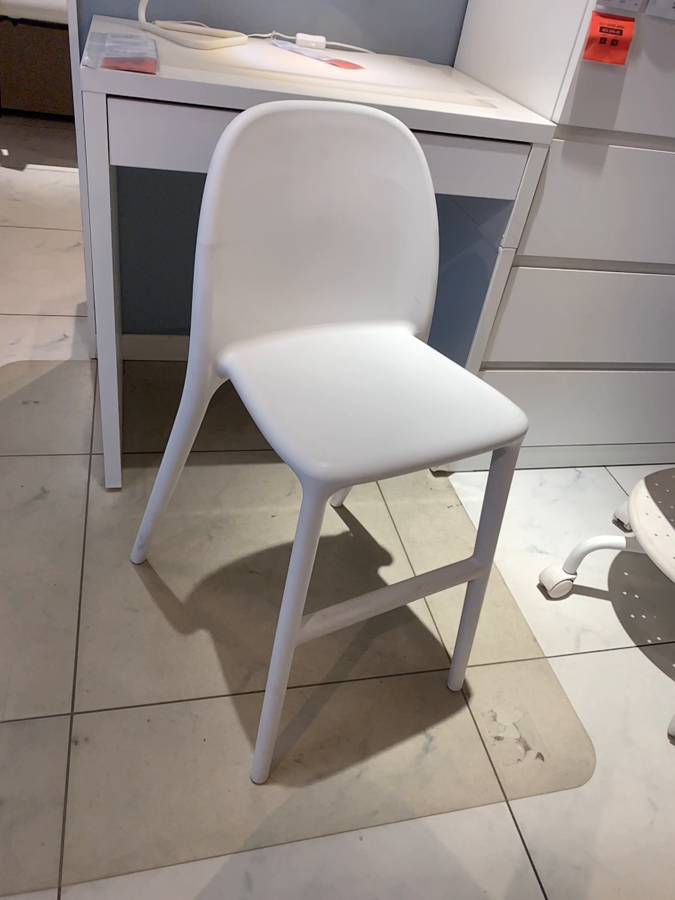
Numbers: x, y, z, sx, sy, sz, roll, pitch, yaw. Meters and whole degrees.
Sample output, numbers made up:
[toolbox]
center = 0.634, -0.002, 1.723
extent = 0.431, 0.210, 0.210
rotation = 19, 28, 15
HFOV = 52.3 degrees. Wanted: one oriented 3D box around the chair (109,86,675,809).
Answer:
[chair]
center = 0.001, -0.015, 0.926
extent = 0.451, 0.727, 0.491
rotation = -12, 42, -28
